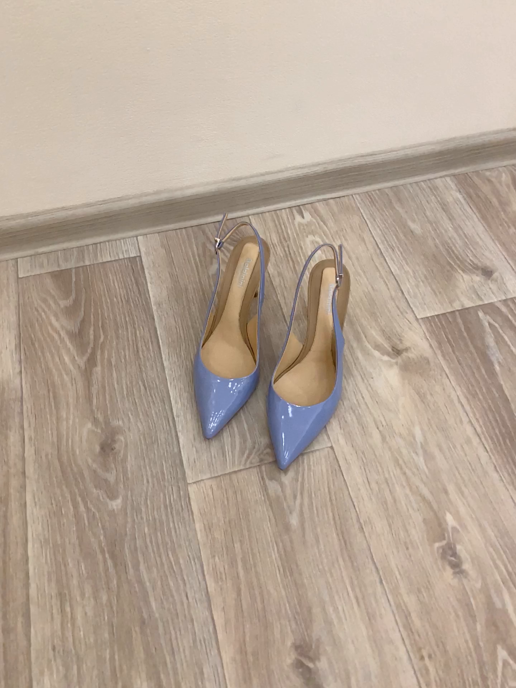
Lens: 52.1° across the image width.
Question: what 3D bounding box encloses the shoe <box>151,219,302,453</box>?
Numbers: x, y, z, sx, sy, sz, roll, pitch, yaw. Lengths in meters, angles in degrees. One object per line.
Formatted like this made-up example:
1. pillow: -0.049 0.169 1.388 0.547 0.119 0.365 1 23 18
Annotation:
1. shoe: -0.025 -0.014 0.587 0.089 0.100 0.231 14 58 8

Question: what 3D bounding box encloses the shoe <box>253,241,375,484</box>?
1. shoe: 0.062 0.014 0.566 0.089 0.100 0.231 10 57 5
